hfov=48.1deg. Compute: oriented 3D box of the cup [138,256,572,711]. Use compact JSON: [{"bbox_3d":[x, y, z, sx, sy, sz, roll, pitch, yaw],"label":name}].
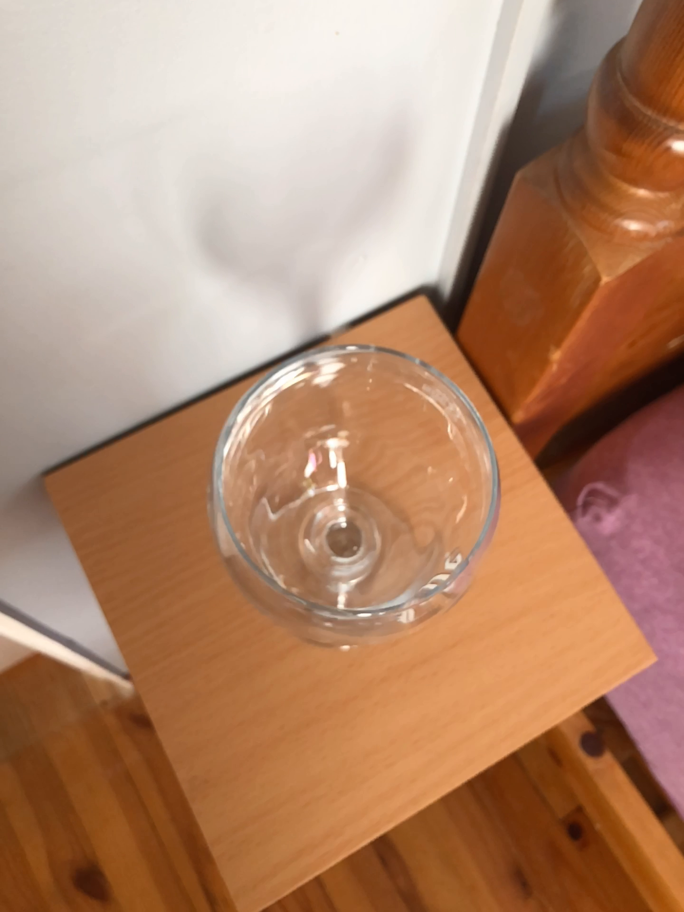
[{"bbox_3d":[0.001,0.029,0.328,0.095,0.185,0.100,1,67,-2],"label":"cup"}]
